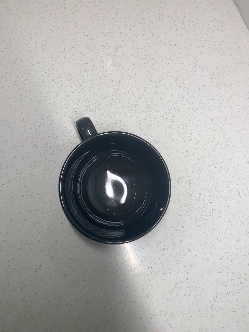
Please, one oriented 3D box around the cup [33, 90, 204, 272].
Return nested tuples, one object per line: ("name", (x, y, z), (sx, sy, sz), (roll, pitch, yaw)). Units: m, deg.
("cup", (-0.007, 0.013, 0.259), (0.110, 0.060, 0.130), (-23, 85, -8))
